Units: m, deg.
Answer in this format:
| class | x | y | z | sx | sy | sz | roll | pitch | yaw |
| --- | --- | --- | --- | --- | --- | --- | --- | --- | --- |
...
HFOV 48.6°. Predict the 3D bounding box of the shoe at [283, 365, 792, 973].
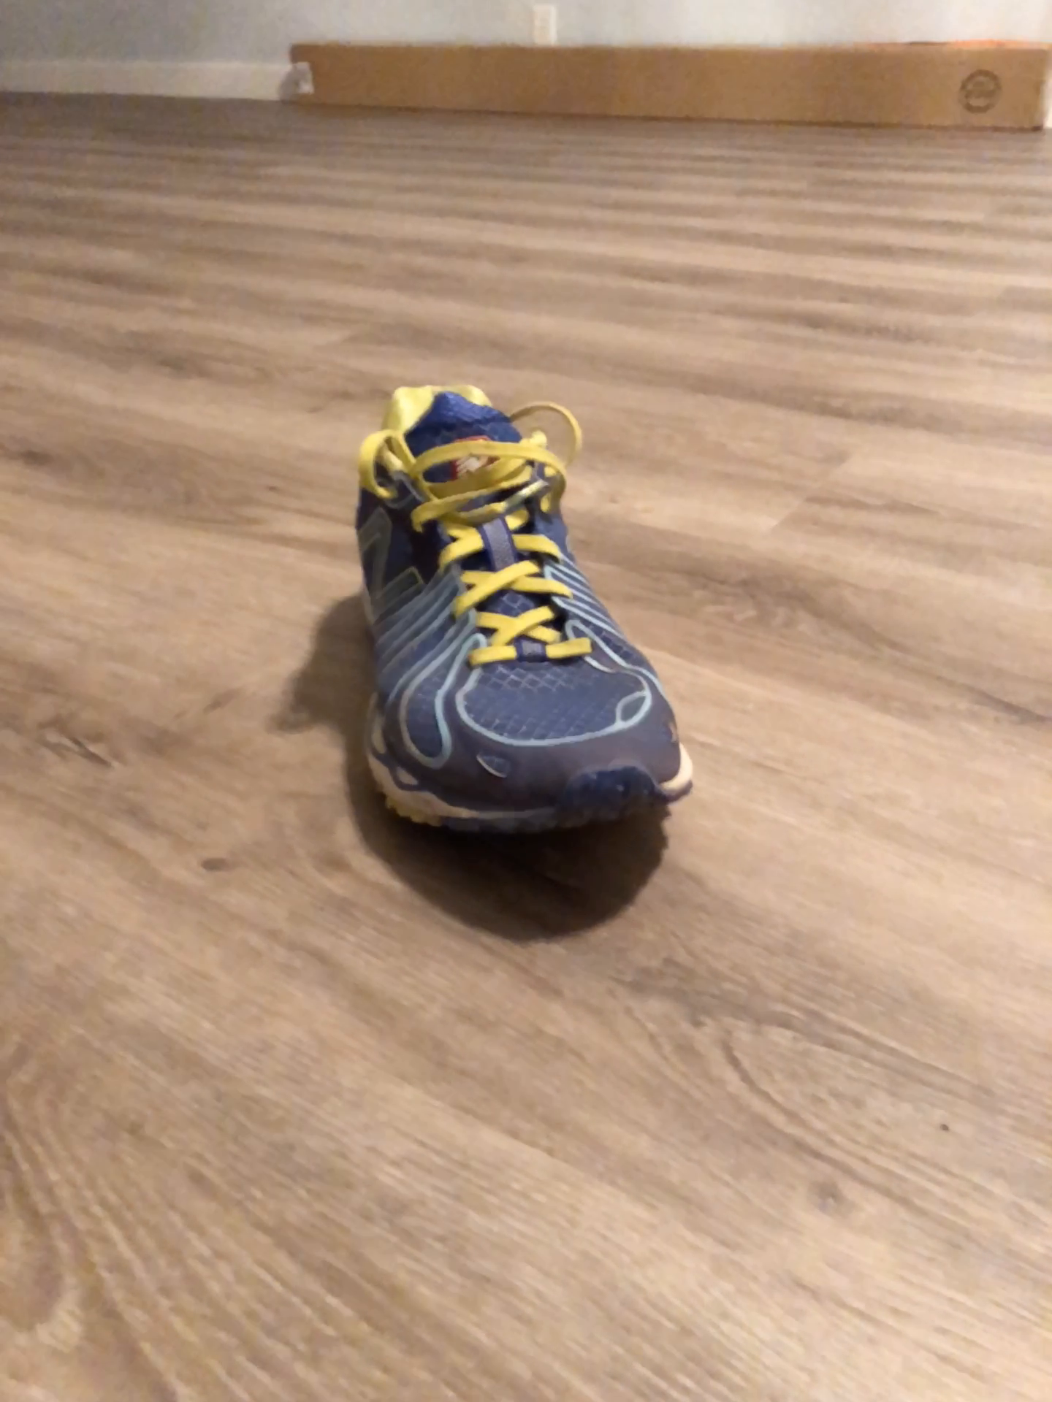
| class | x | y | z | sx | sy | sz | roll | pitch | yaw |
| --- | --- | --- | --- | --- | --- | --- | --- | --- | --- |
| shoe | -0.016 | -0.036 | 0.418 | 0.110 | 0.099 | 0.251 | -8 | 31 | -12 |
